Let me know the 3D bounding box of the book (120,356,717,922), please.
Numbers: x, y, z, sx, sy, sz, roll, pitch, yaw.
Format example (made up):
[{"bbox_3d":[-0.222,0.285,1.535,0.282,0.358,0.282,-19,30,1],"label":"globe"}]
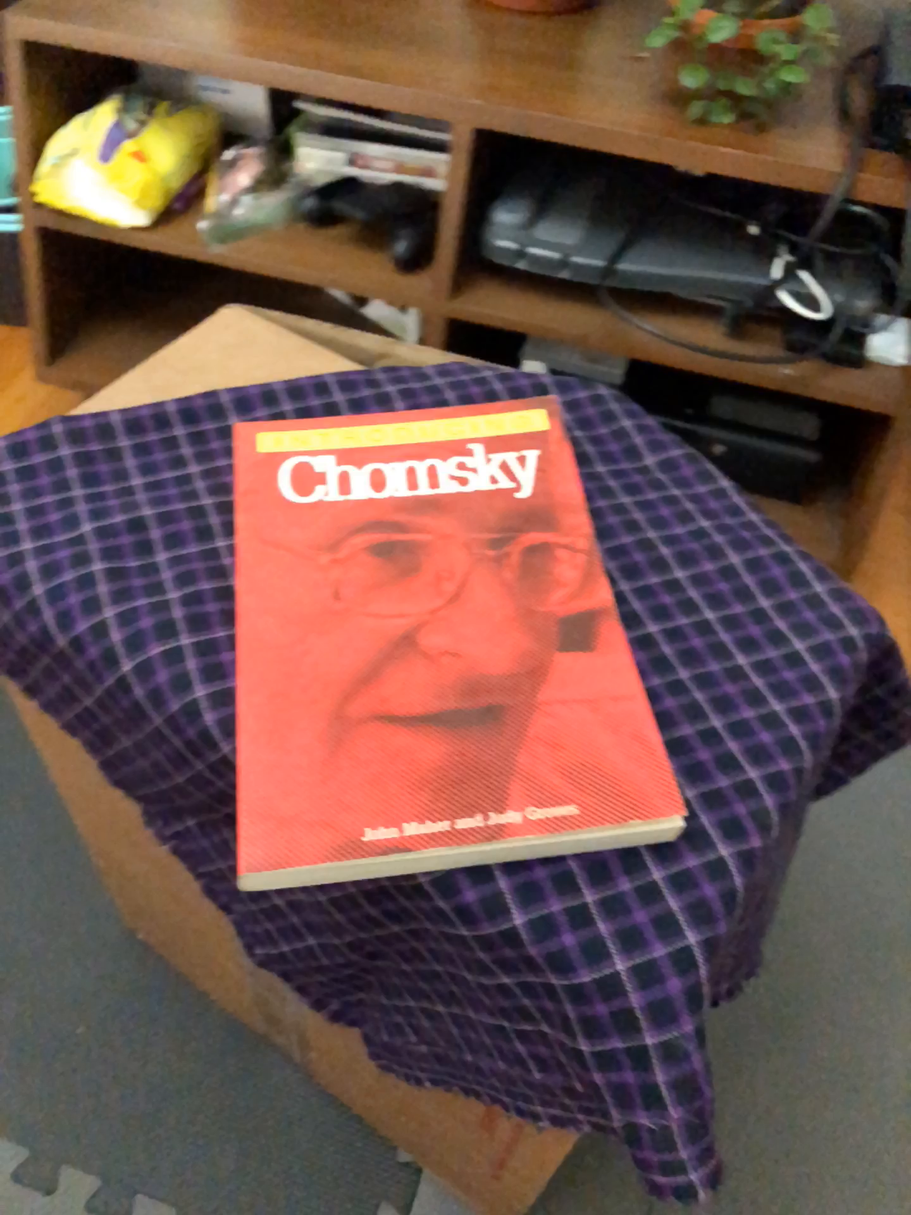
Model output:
[{"bbox_3d":[-0.026,-0.011,0.387,0.180,0.020,0.241,-5,50,-8],"label":"book"}]
